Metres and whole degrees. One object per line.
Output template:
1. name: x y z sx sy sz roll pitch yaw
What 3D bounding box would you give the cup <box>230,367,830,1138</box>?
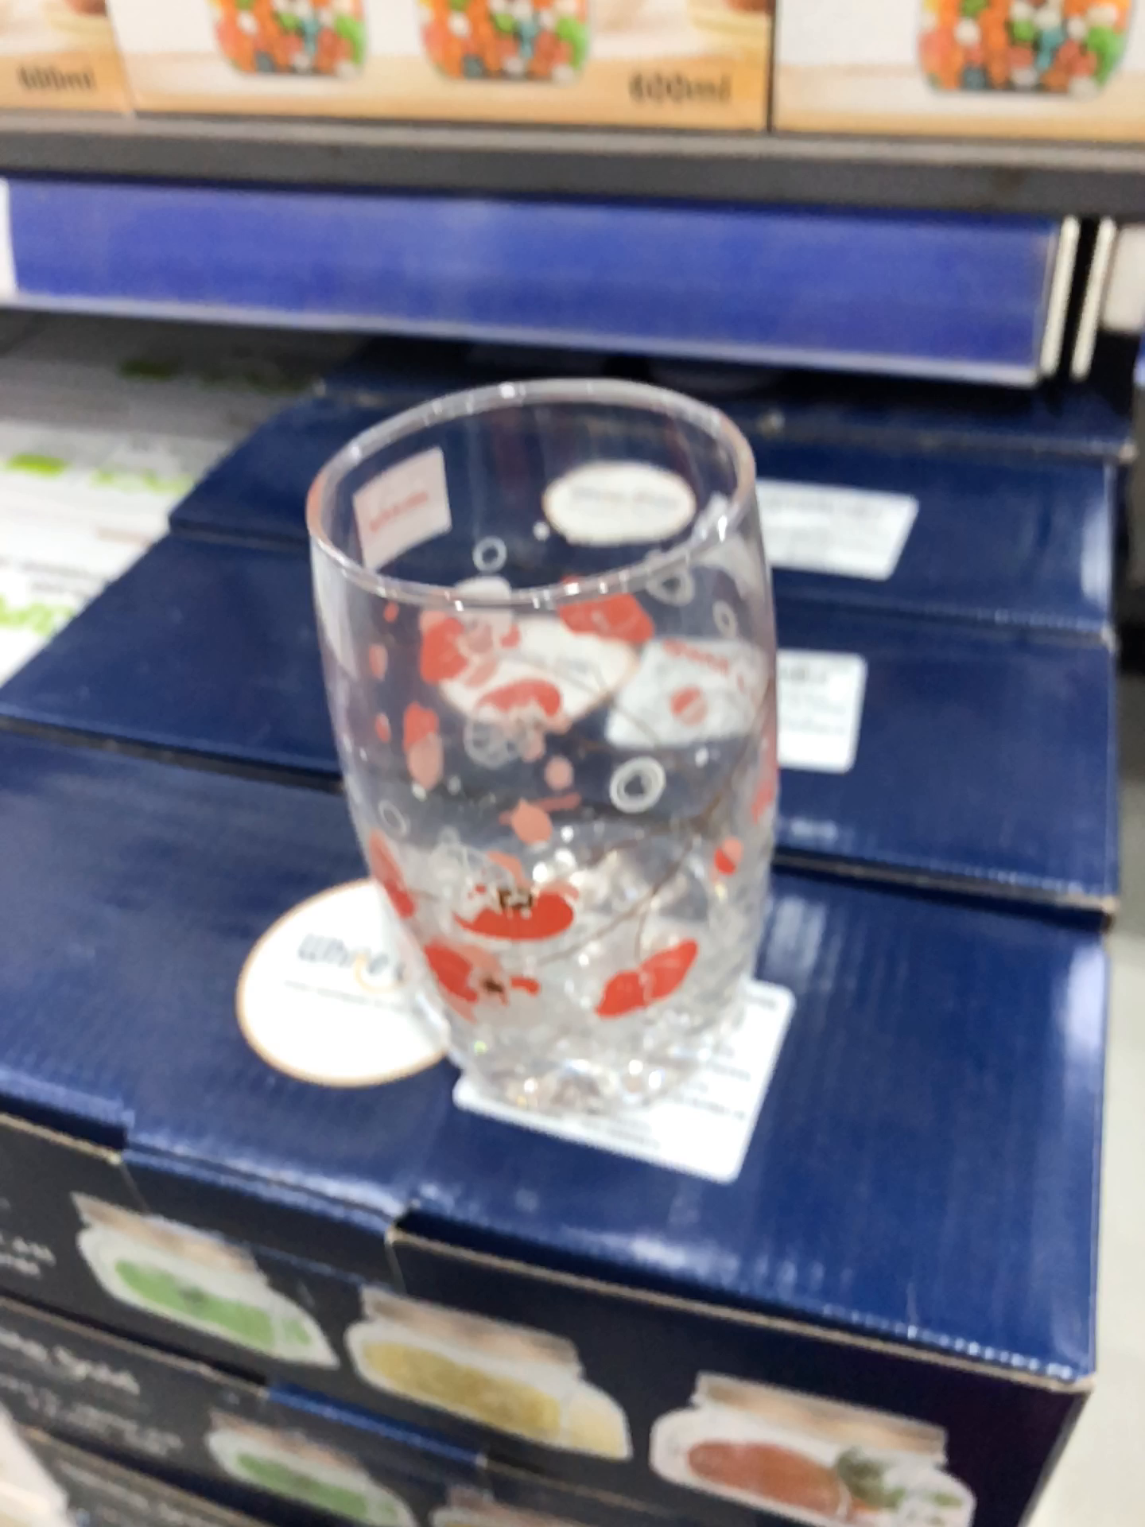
1. cup: 0.000 -0.001 0.210 0.070 0.100 0.070 -2 41 2
